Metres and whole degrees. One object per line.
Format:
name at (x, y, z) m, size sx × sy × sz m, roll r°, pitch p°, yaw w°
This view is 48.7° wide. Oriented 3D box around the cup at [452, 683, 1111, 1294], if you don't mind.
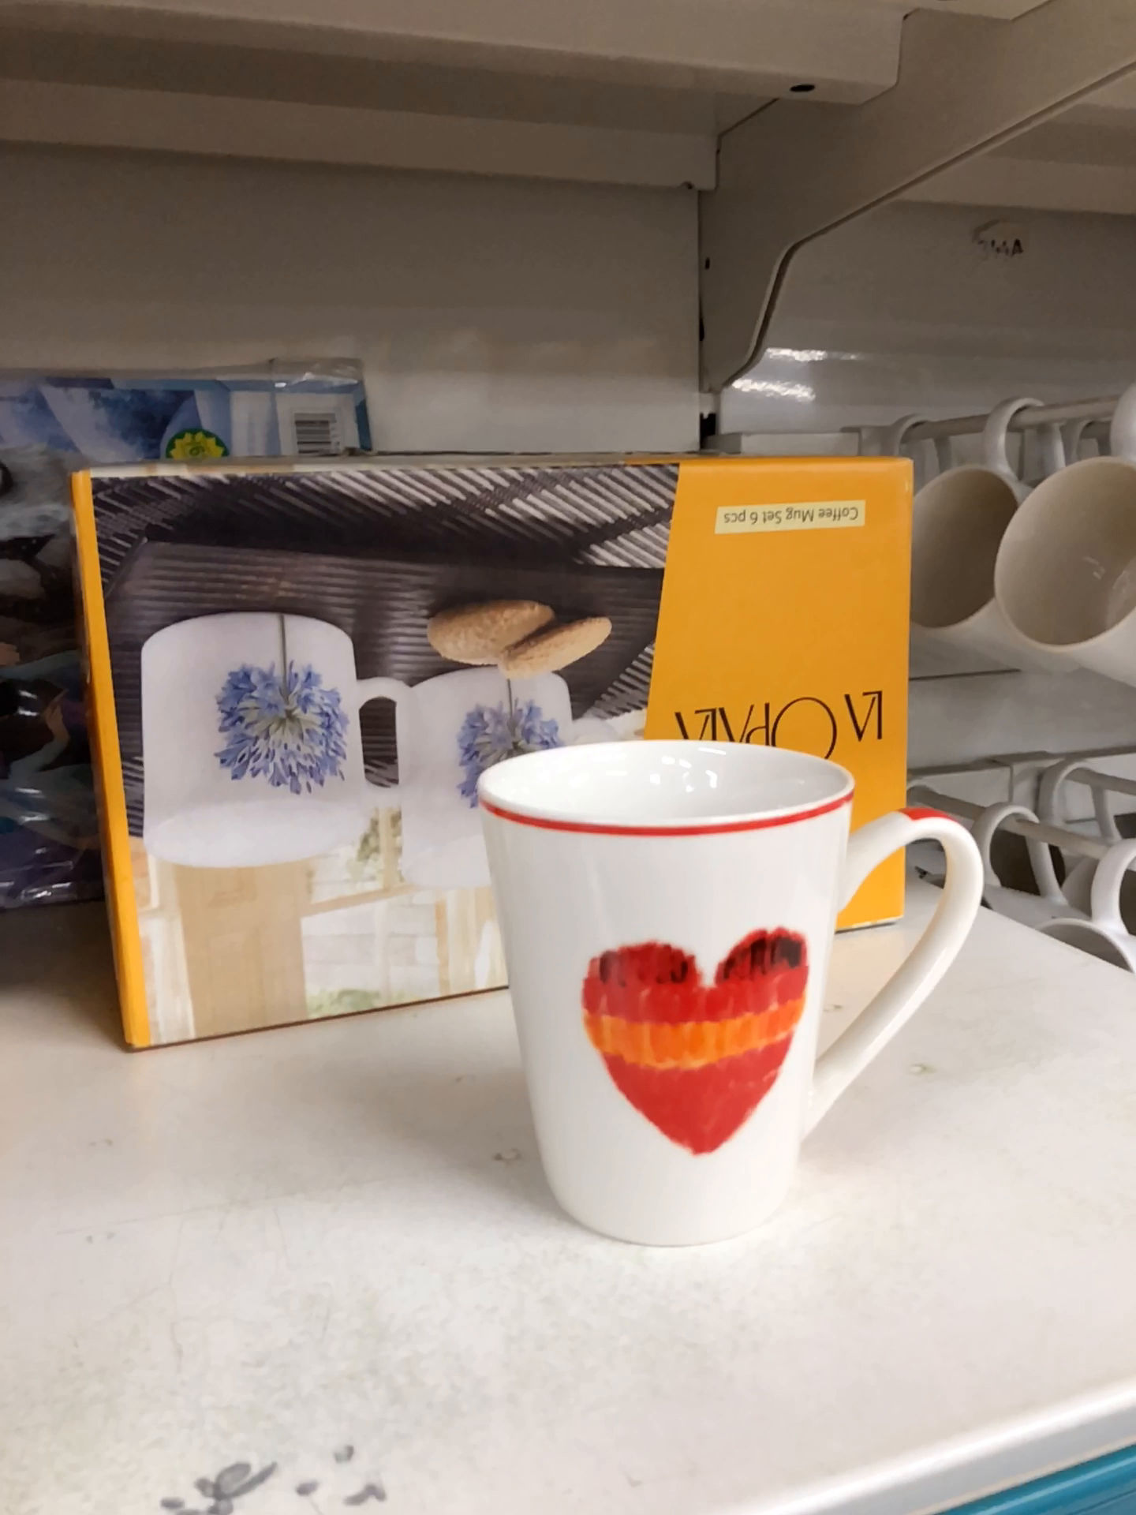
cup at (0.042, 0.041, 0.285) m, size 0.120 × 0.100 × 0.080 m, roll -4°, pitch 12°, yaw -15°
